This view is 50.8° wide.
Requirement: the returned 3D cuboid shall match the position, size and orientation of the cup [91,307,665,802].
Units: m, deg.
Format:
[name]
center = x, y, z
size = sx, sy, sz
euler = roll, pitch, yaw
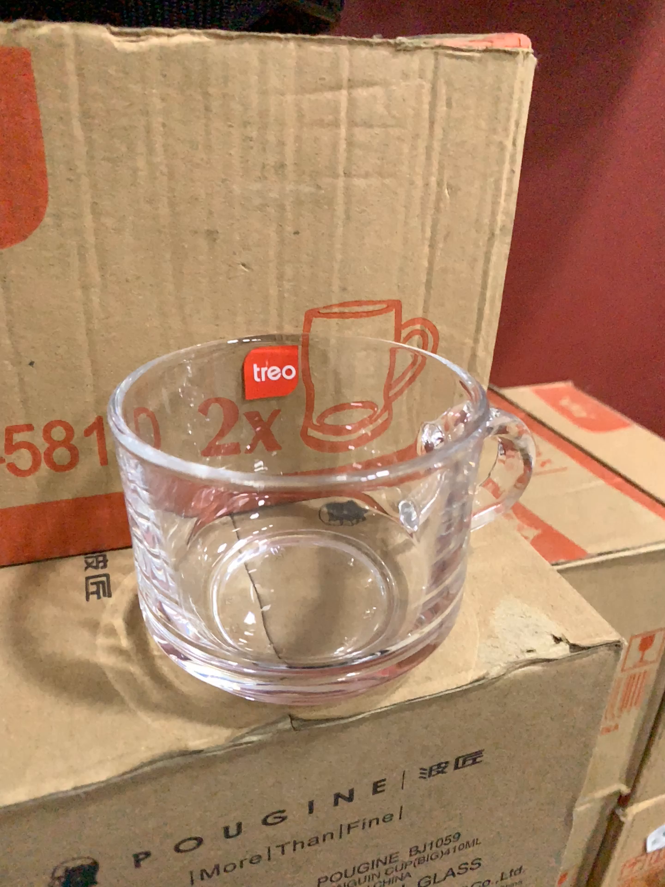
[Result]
[cup]
center = 0.007, 0.013, 0.157
size = 0.104, 0.061, 0.072
euler = -8, 29, -20
